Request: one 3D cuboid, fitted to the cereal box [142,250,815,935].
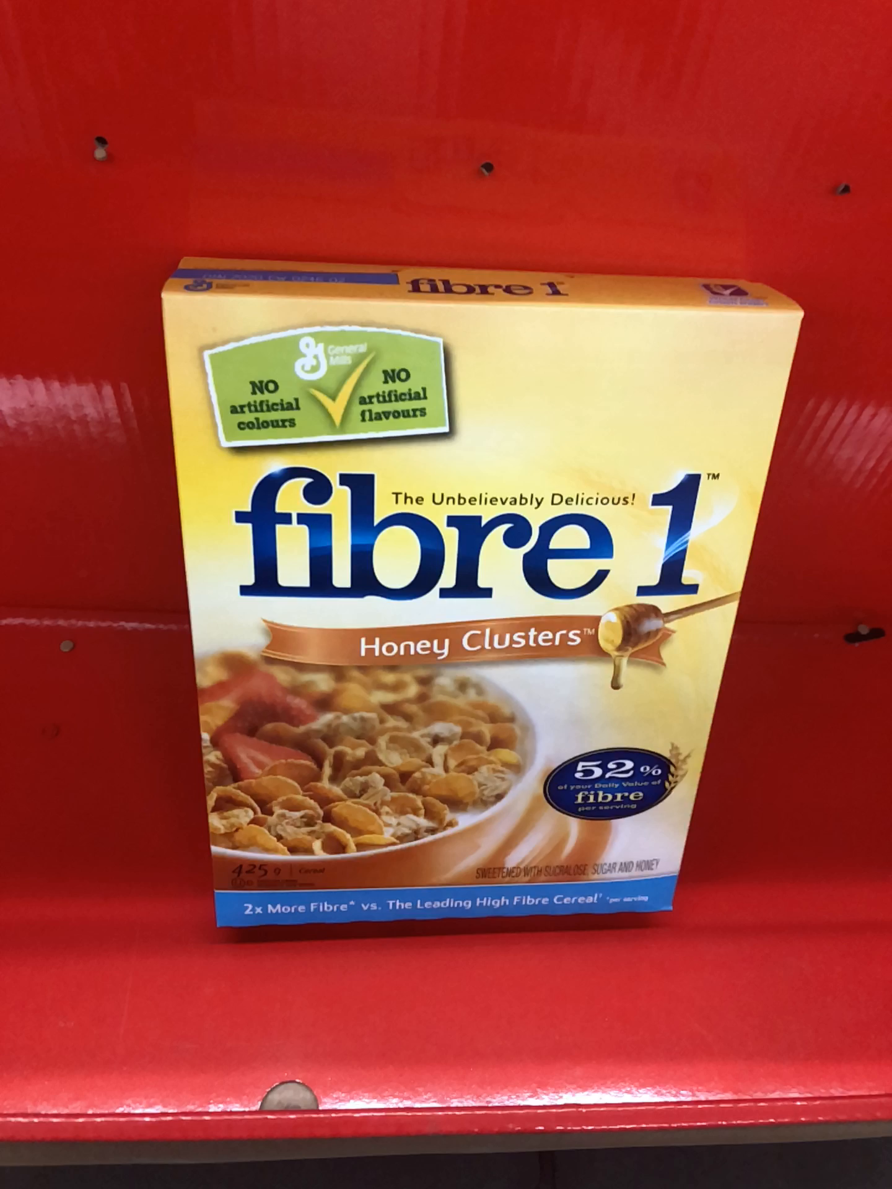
[{"bbox_3d":[0.005,0.012,0.392,0.210,0.269,0.060,0,28,-6],"label":"cereal box"}]
